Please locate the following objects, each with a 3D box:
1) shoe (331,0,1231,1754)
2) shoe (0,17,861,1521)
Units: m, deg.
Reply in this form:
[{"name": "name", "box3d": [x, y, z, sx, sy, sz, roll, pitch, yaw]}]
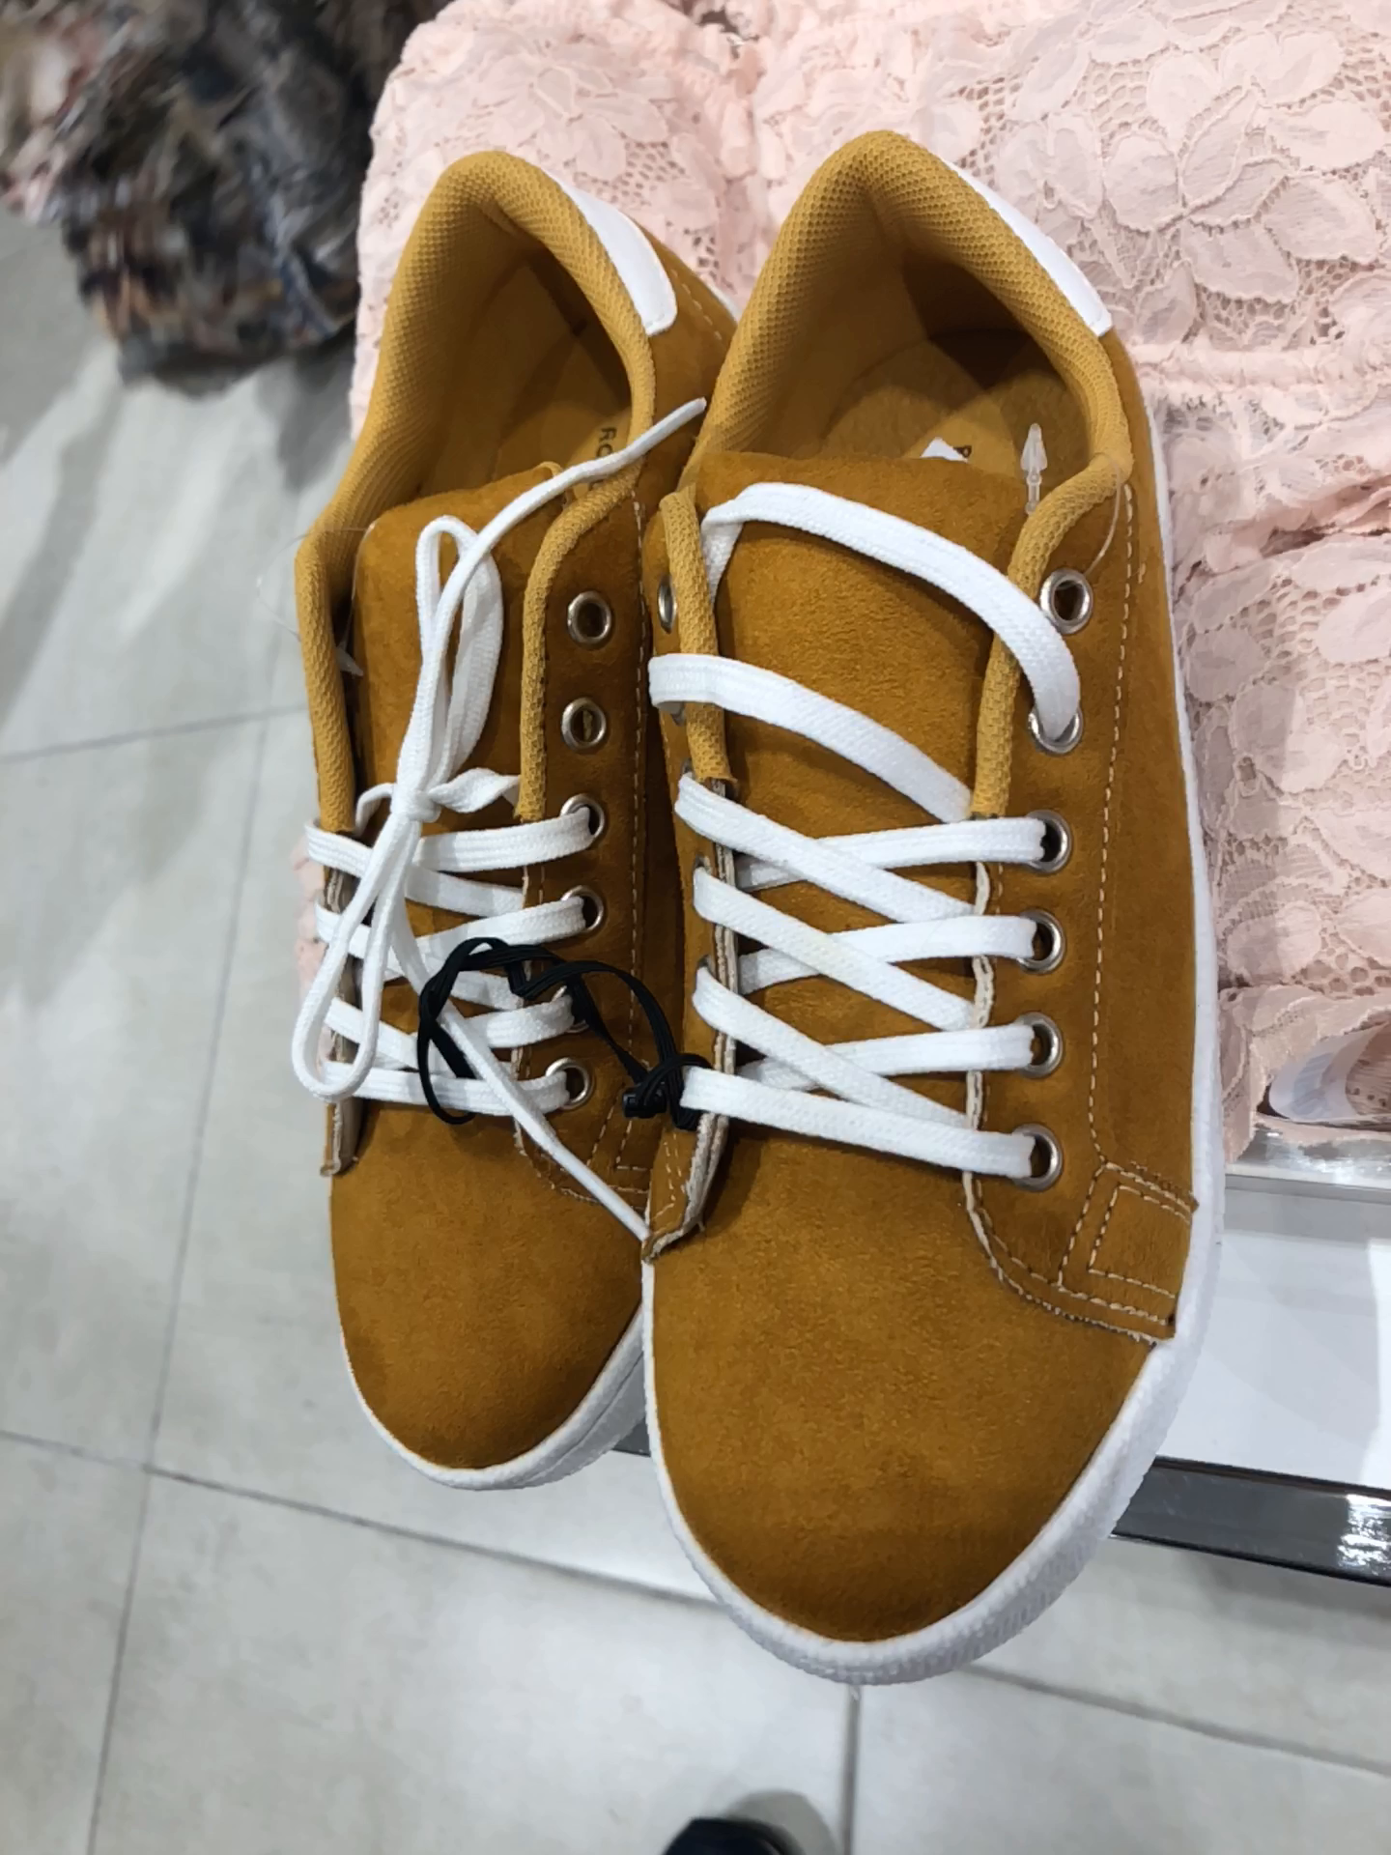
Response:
[{"name": "shoe", "box3d": [0.033, -0.013, 0.253, 0.100, 0.100, 0.240, 0, 68, 18]}, {"name": "shoe", "box3d": [-0.034, -0.026, 0.289, 0.090, 0.100, 0.240, 2, 73, 19]}]
